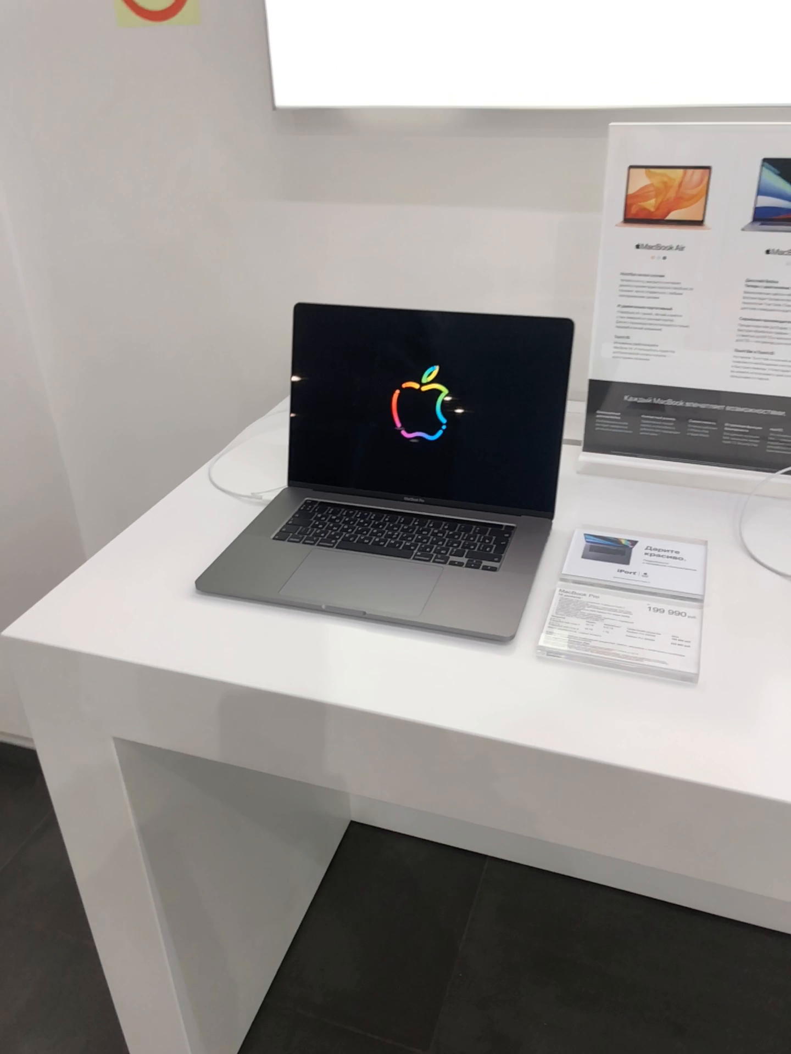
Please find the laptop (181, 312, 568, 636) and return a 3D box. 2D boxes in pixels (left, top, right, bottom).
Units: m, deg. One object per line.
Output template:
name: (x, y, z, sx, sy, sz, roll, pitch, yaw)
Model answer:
laptop: (-0.001, -0.083, 0.962, 0.328, 0.209, 0.311, 7, 31, 16)
